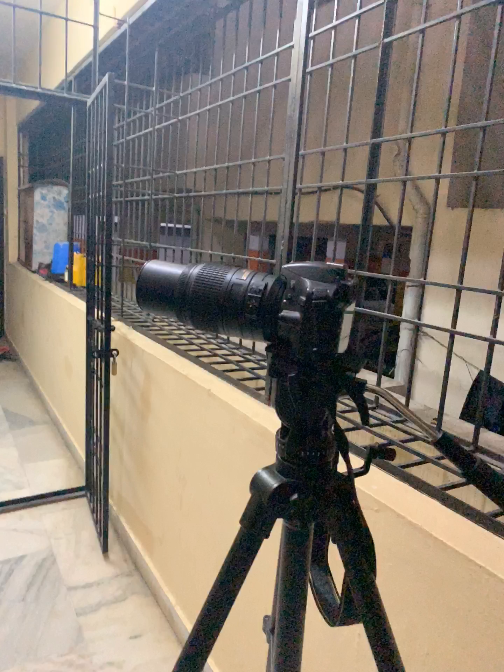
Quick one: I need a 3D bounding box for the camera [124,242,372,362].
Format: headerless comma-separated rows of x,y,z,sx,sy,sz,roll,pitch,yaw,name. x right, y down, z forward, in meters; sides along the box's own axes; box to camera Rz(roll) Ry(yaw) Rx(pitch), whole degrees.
-0.001,-0.045,0.545,0.230,0.090,0.120,8,11,18,camera
